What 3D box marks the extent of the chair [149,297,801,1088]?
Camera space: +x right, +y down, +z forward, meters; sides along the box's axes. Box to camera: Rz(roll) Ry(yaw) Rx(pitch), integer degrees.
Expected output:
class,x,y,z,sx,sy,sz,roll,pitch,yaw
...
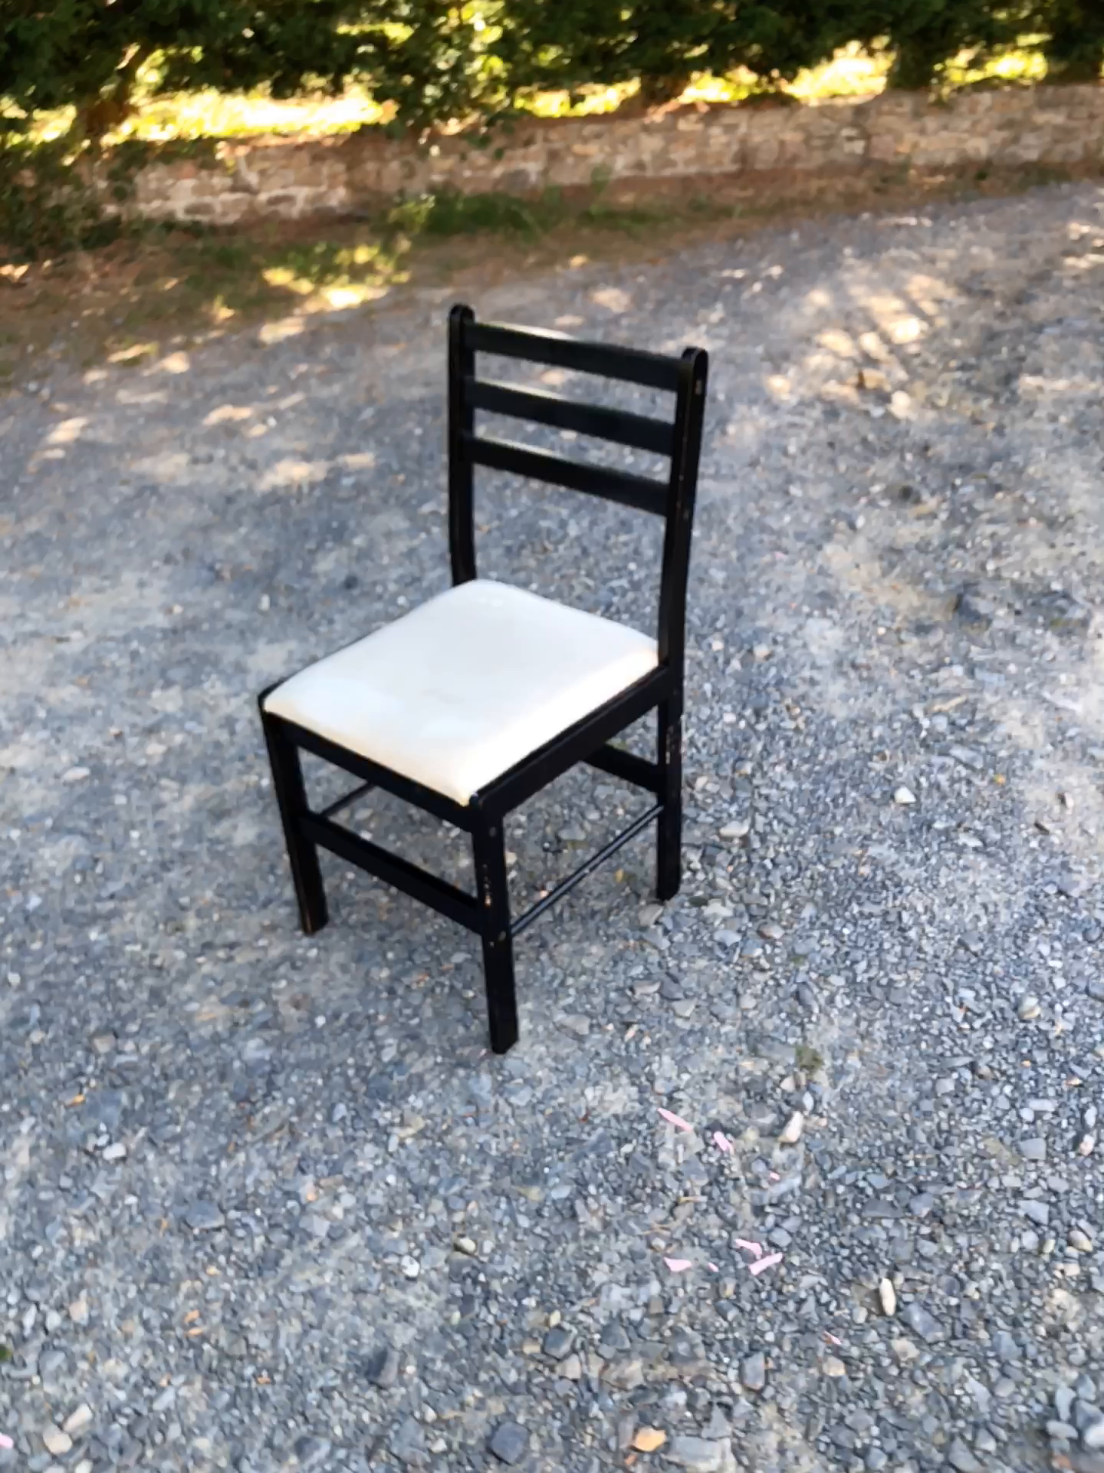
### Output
class,x,y,z,sx,sy,sz,roll,pitch,yaw
chair,-0.069,-0.088,1.626,0.540,0.775,0.533,23,42,31
